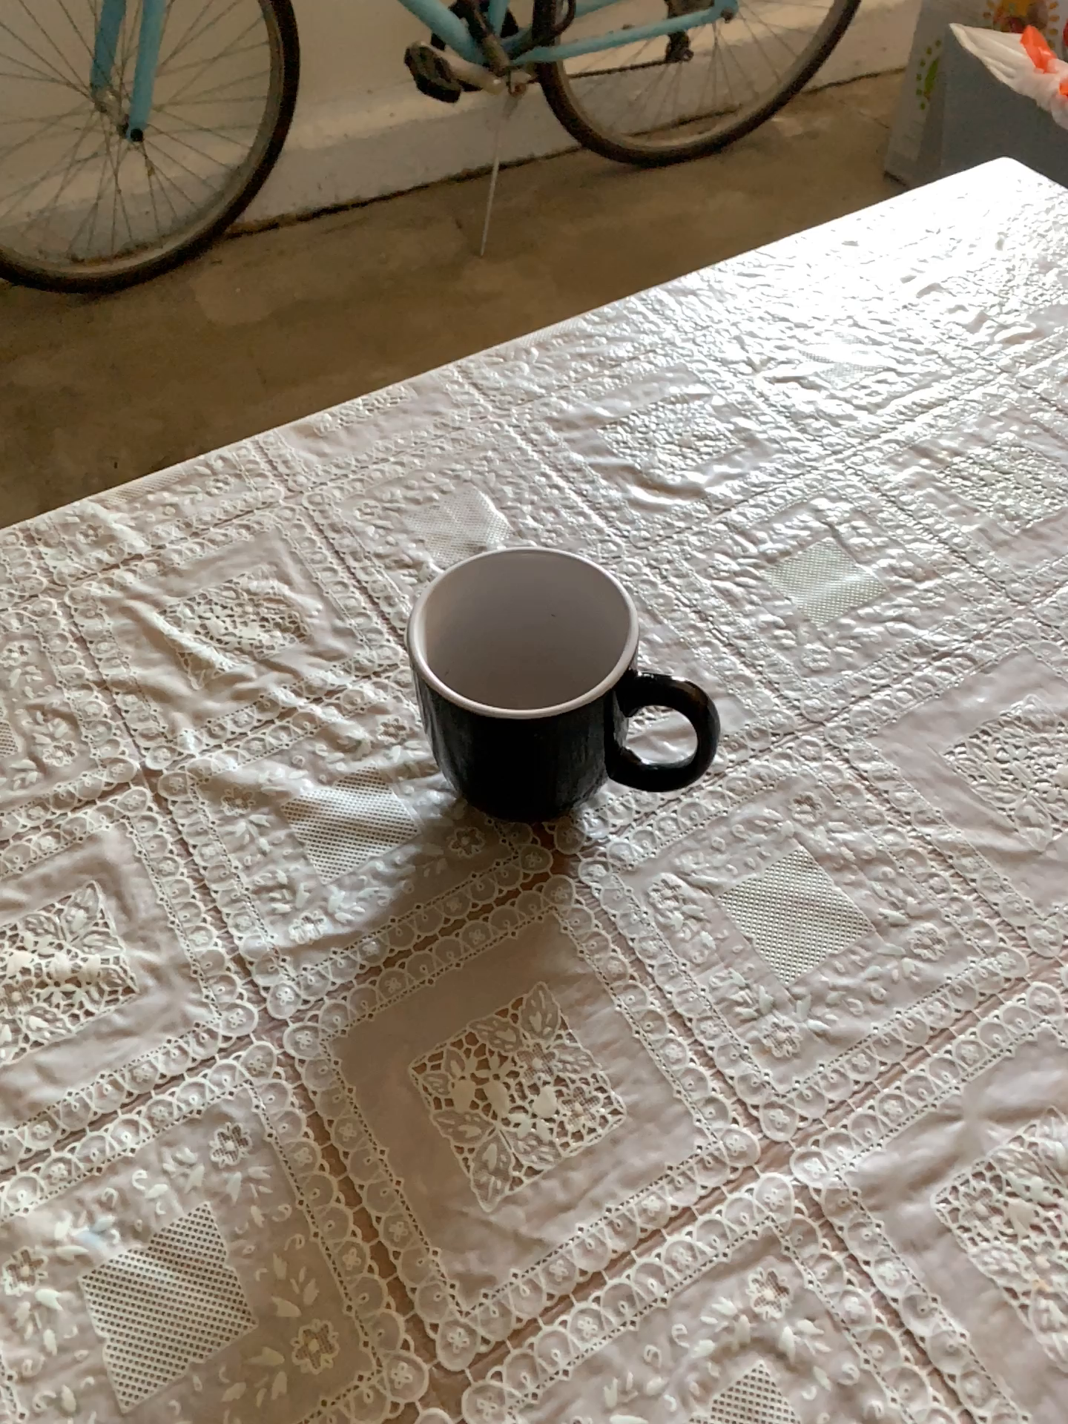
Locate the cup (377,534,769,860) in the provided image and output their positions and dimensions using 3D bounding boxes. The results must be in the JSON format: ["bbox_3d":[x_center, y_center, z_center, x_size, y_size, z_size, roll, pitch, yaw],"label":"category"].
[{"bbox_3d":[0.037,-0.019,1.011,0.320,0.189,0.180,8,35,6],"label":"cup"}]
